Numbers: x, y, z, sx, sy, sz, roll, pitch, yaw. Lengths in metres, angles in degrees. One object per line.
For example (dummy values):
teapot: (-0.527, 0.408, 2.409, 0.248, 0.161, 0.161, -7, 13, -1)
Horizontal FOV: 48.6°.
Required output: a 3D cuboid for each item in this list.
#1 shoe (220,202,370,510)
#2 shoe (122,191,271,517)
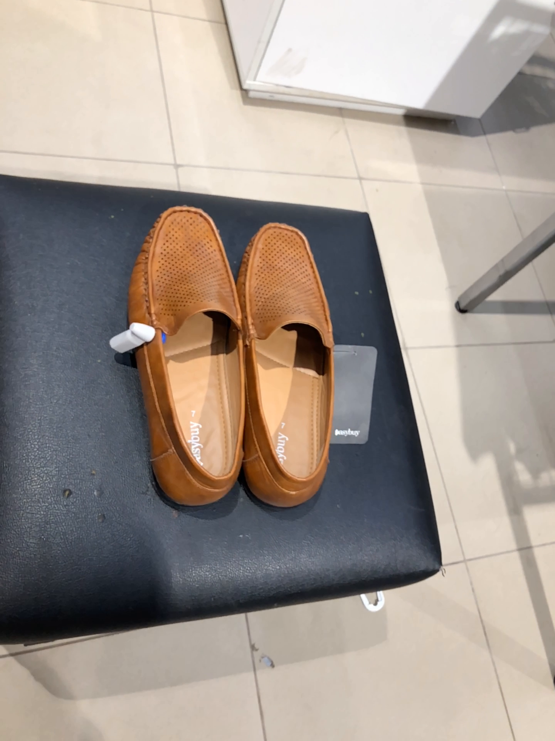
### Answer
shoe: (0.009, -0.011, 0.559, 0.098, 0.096, 0.253, 7, 66, -18)
shoe: (-0.077, -0.013, 0.525, 0.098, 0.096, 0.253, 3, 67, -20)
